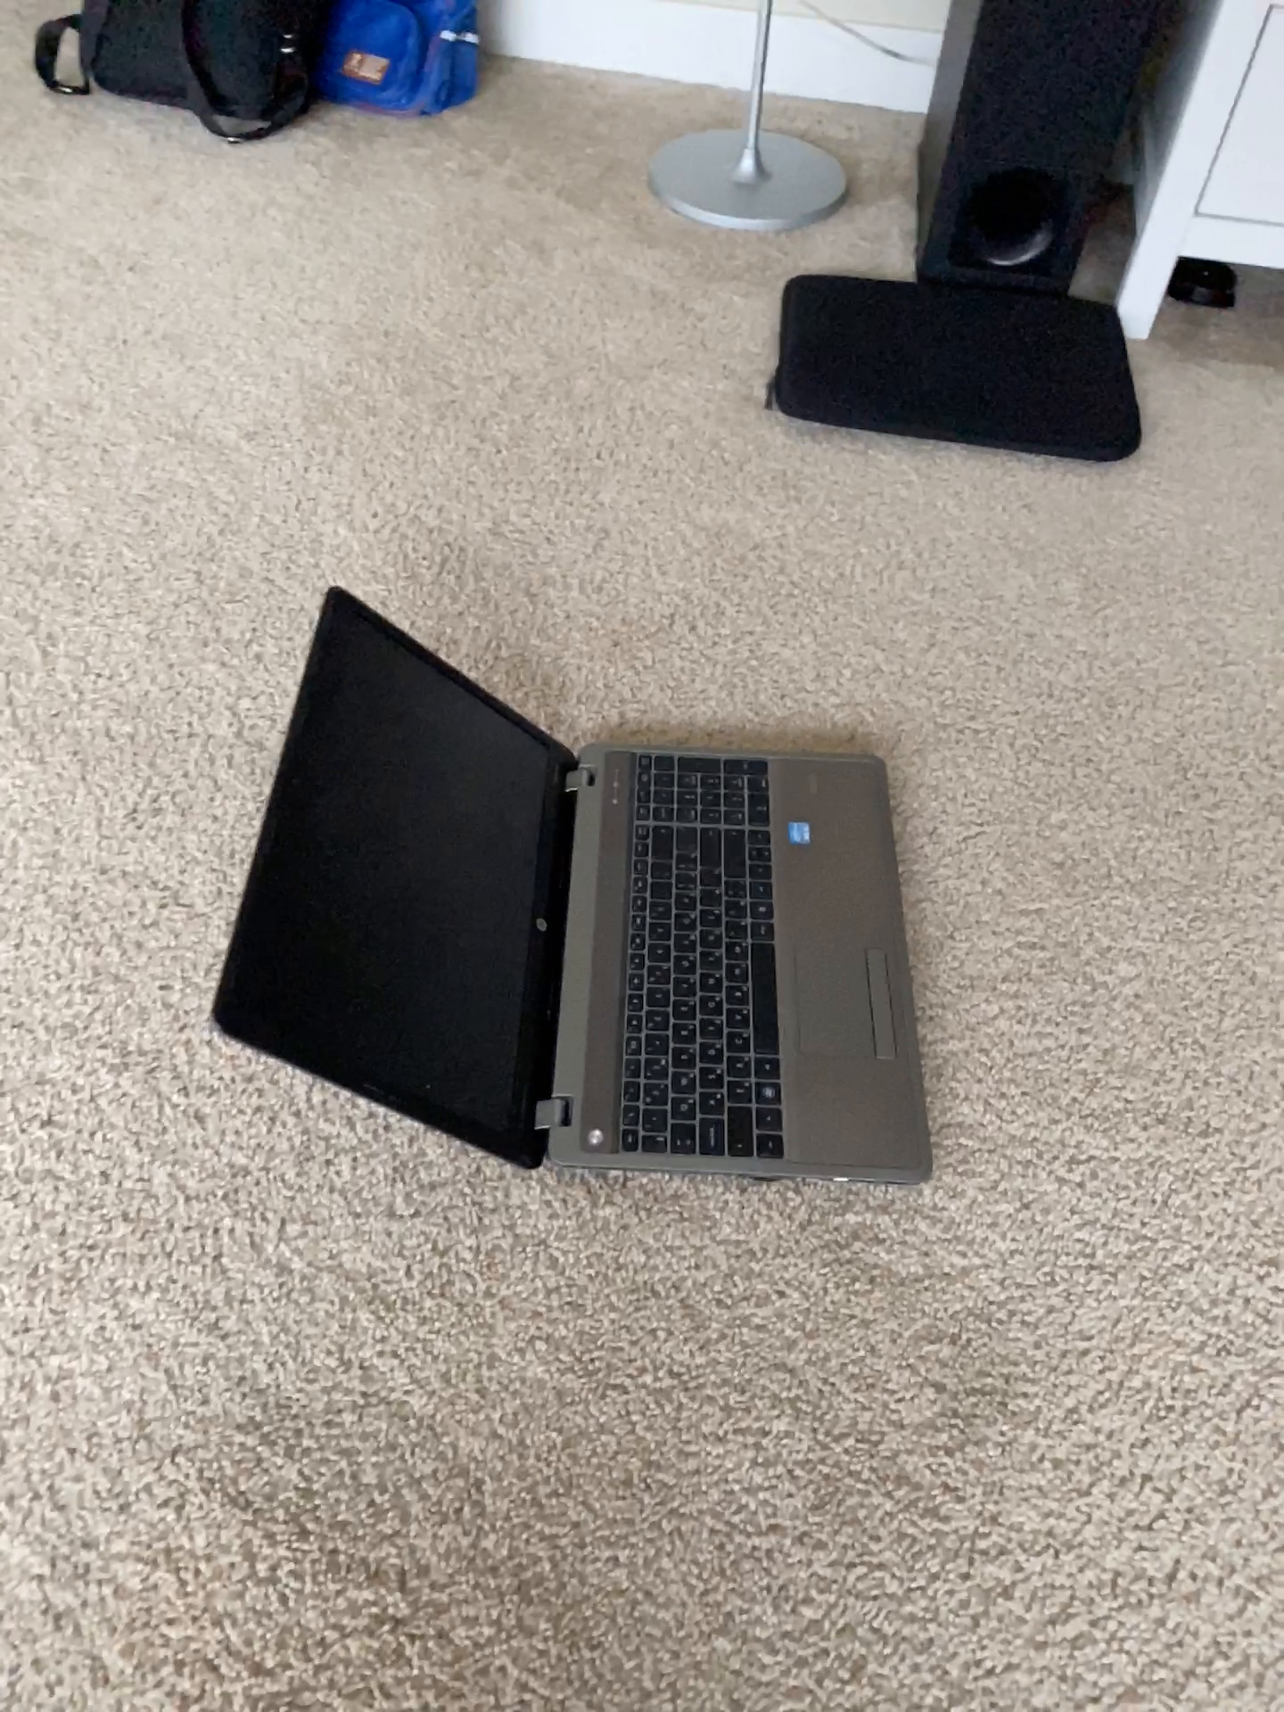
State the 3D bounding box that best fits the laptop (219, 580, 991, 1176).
[{"bbox_3d":[-0.018,0.003,0.910,0.435,0.162,0.376,3,52,0],"label":"laptop"}]
